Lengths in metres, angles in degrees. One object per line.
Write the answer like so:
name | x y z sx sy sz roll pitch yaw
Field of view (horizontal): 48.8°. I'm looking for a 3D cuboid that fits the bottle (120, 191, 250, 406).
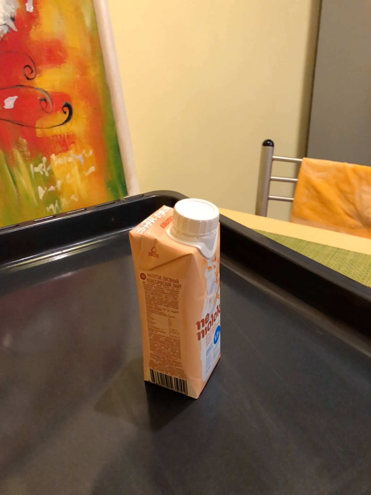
bottle | 0.003 0.032 0.275 0.060 0.119 0.060 -1 26 0
